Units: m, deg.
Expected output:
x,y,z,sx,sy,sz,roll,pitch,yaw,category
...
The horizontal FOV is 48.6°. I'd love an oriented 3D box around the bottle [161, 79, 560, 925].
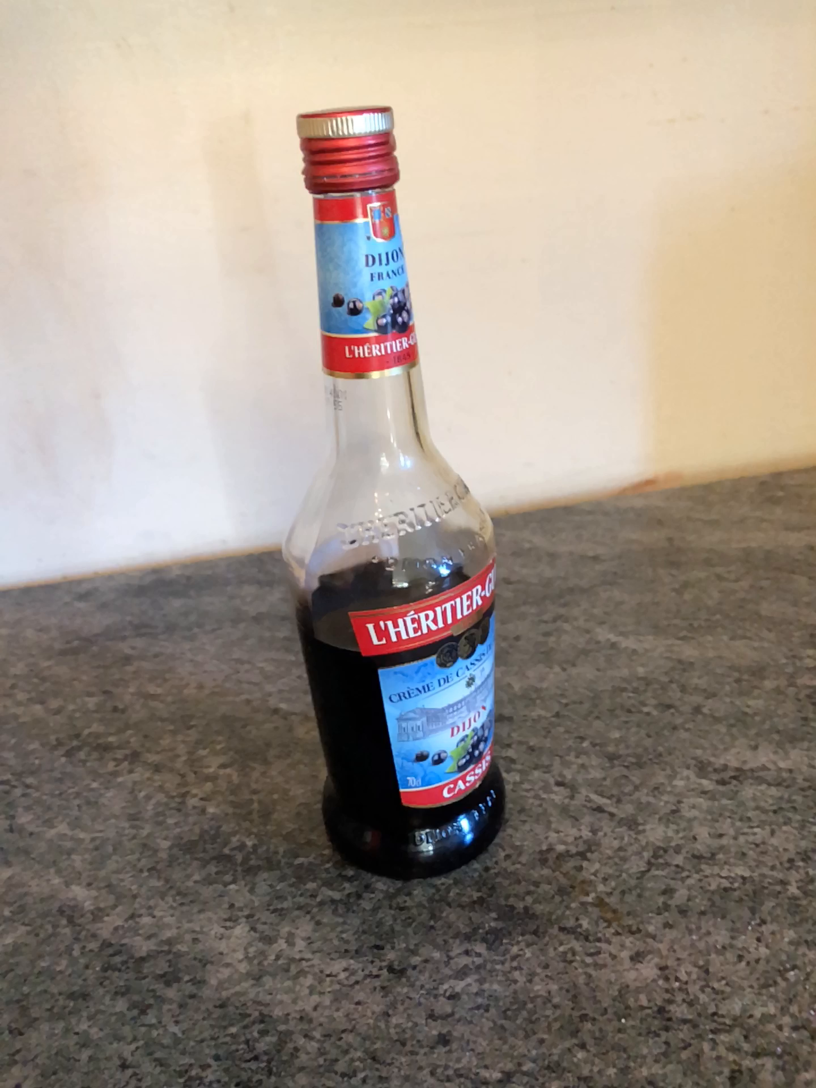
x,y,z,sx,sy,sz,roll,pitch,yaw,category
-0.005,-0.010,0.354,0.090,0.298,0.090,-4,26,2,bottle
